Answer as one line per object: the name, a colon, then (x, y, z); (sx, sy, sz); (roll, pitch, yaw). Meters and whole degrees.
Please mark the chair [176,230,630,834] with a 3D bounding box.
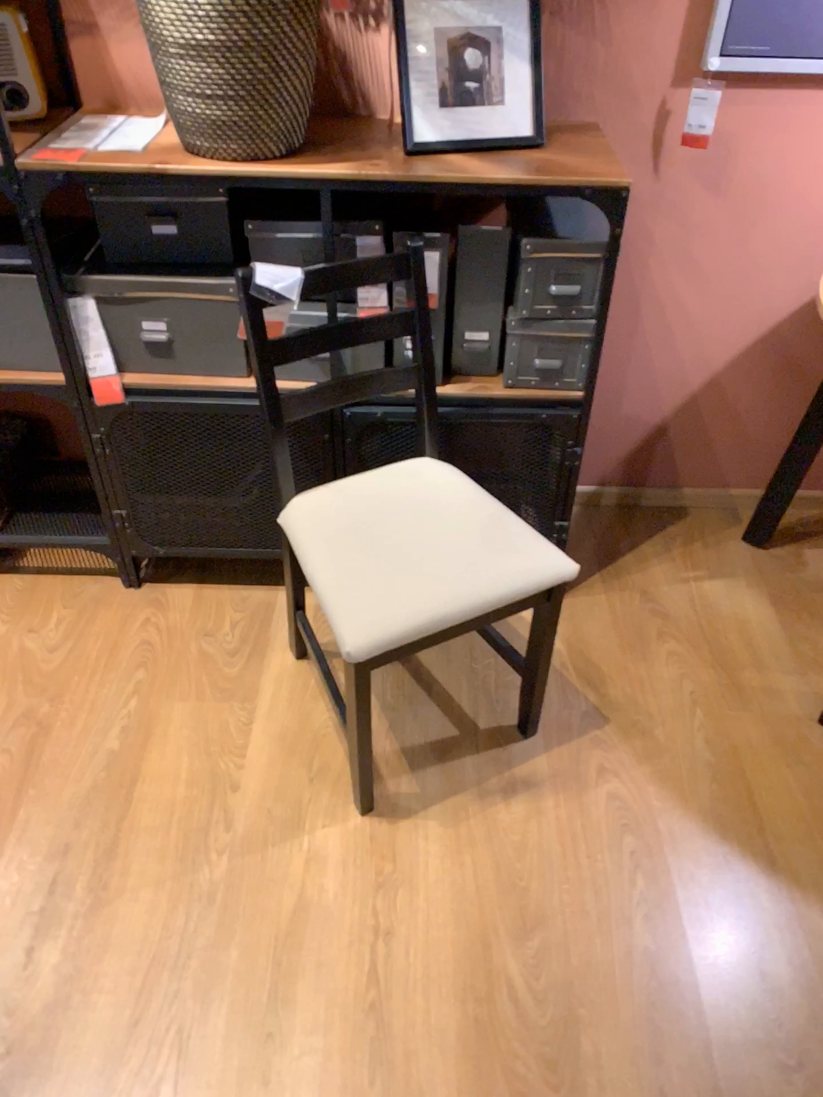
chair: (-0.045, -0.031, 1.412); (0.430, 0.767, 0.542); (-19, 45, -22)
